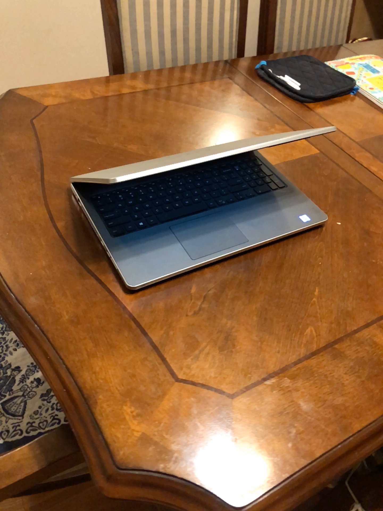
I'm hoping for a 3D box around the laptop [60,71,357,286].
[{"bbox_3d":[0.018,-0.144,0.666,0.364,0.147,0.246,-19,52,-23],"label":"laptop"}]
